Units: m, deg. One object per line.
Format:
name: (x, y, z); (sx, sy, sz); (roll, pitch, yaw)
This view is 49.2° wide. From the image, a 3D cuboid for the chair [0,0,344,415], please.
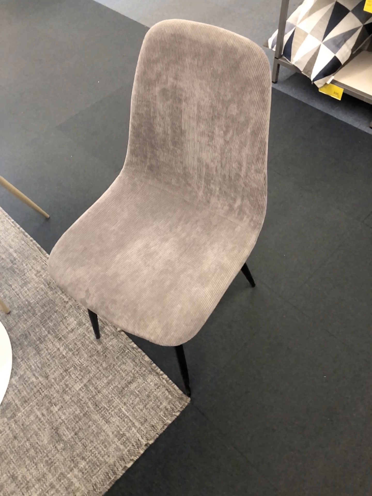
chair: (-0.076, -0.068, 1.097); (0.581, 0.808, 0.581); (28, 61, 21)
